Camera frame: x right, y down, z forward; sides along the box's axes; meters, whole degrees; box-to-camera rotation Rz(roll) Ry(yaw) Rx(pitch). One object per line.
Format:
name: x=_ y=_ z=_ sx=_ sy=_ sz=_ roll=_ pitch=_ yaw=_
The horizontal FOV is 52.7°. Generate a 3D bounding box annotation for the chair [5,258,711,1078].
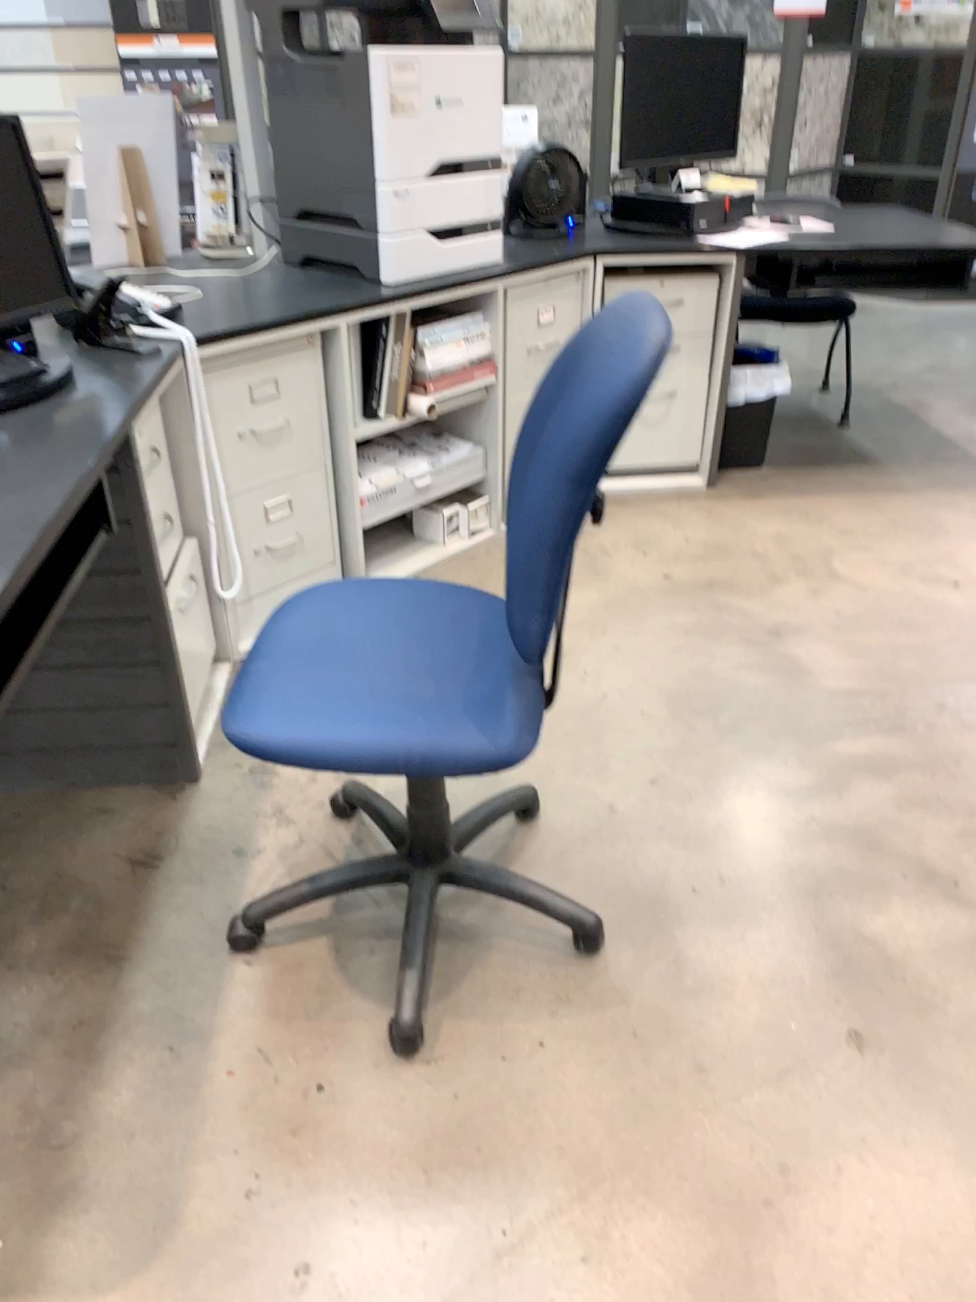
chair: x=-0.112 y=0.010 z=1.504 sx=0.692 sy=1.035 sz=0.662 roll=2 pitch=31 yaw=3
